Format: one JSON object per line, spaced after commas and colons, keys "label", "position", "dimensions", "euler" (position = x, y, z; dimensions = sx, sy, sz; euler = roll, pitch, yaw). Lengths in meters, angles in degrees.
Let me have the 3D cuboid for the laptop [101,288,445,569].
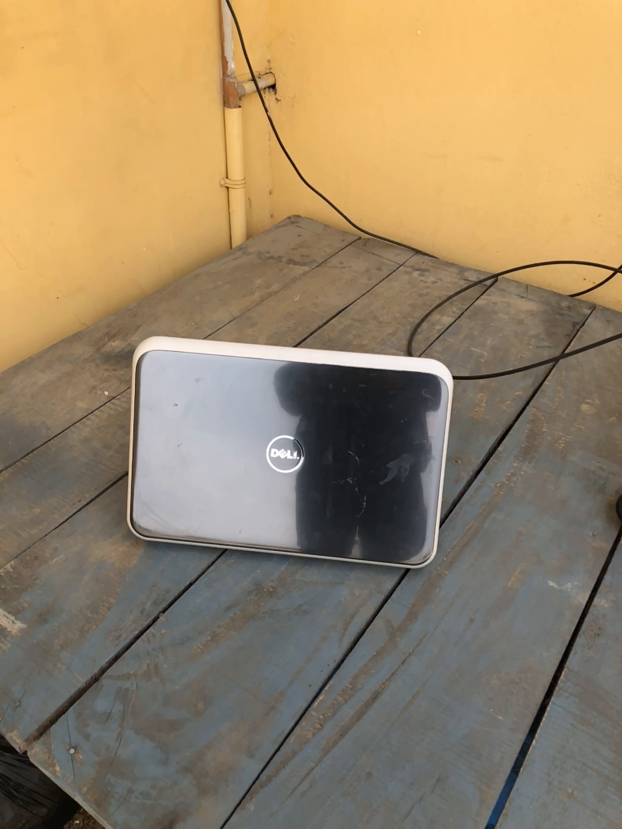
{"label": "laptop", "position": [-0.028, 0.010, 0.822], "dimensions": [0.347, 0.206, 0.217], "euler": [5, 40, 5]}
